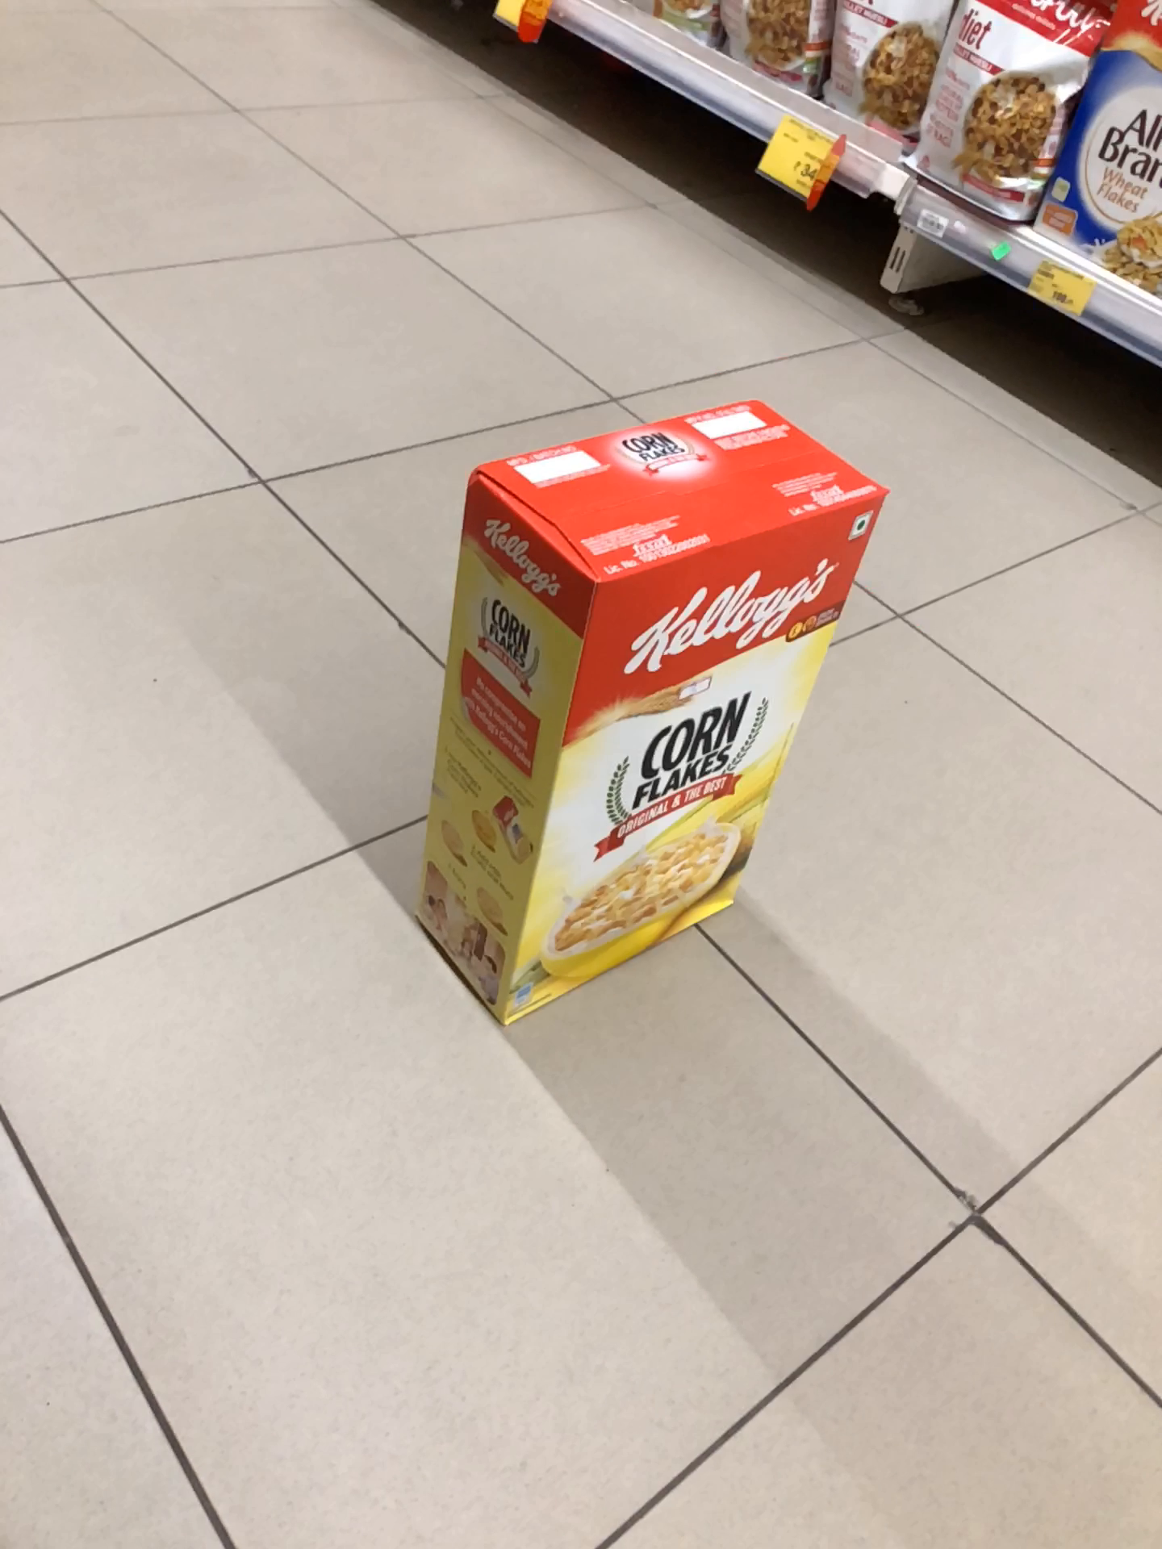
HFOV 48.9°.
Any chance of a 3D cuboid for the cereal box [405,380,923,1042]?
[{"bbox_3d":[0.029,-0.027,0.691,0.201,0.318,0.100,-23,54,-33],"label":"cereal box"}]
